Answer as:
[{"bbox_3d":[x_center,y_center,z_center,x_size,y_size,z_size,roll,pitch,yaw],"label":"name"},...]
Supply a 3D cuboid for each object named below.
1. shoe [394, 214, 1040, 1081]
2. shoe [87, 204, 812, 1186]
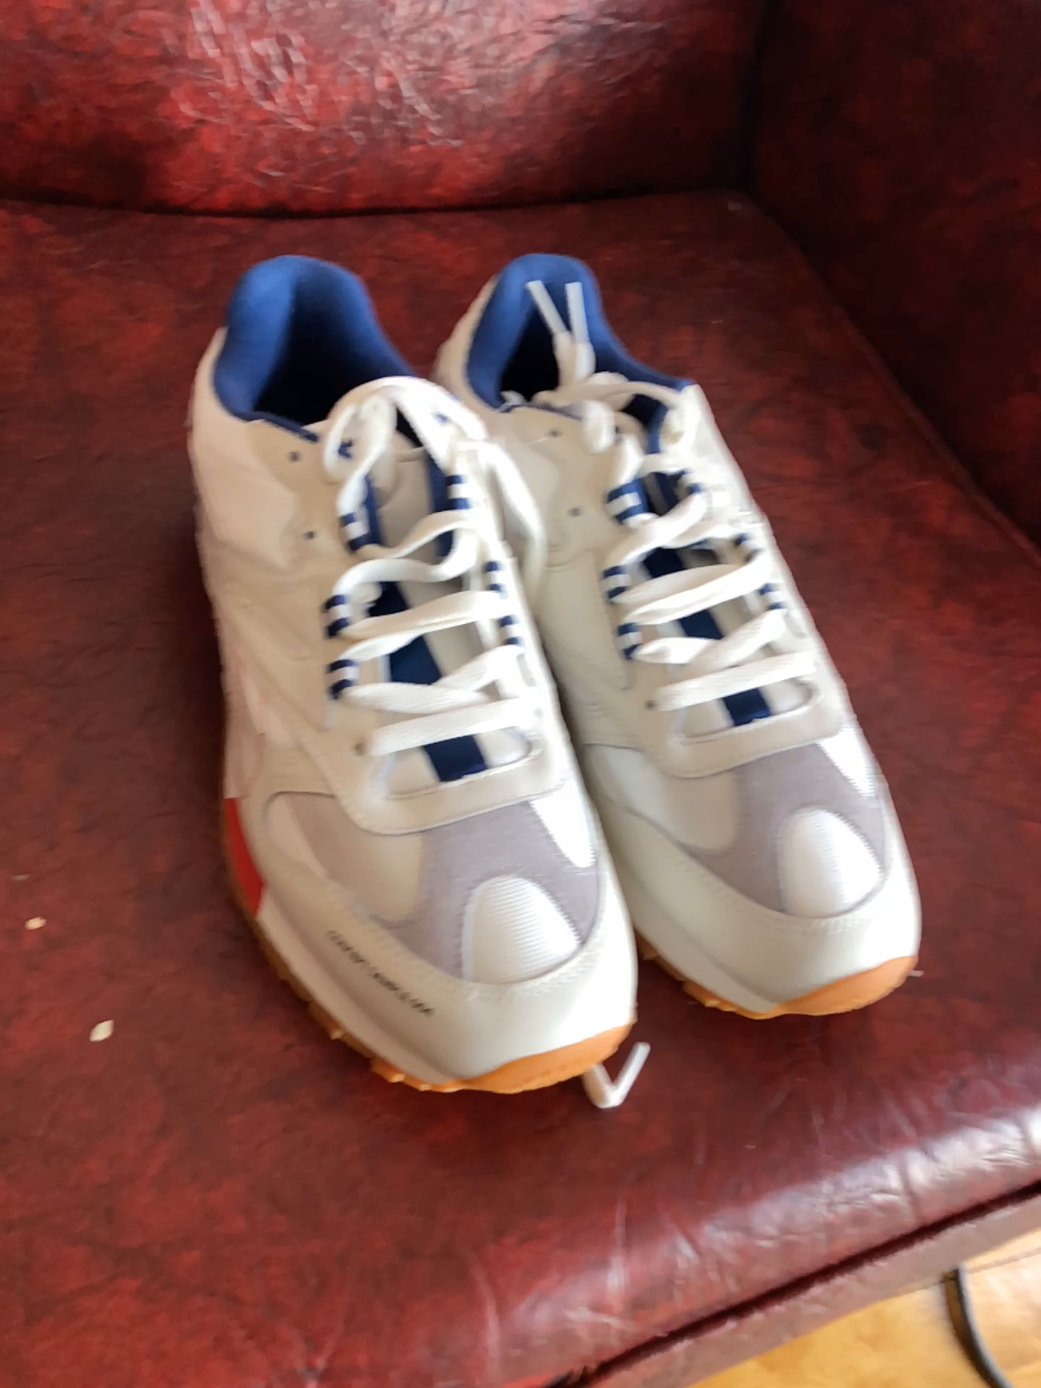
[{"bbox_3d":[0.059,-0.031,0.390,0.110,0.099,0.271,-12,61,-23],"label":"shoe"},{"bbox_3d":[-0.043,-0.017,0.348,0.110,0.099,0.271,-12,61,-23],"label":"shoe"}]
